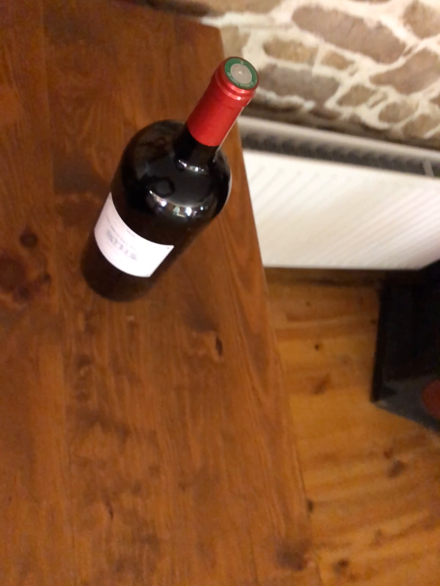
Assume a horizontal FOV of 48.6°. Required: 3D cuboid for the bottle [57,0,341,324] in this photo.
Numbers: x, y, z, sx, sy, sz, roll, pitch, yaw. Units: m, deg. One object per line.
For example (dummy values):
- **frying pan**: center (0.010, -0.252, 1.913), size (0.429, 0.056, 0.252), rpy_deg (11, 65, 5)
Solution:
- **bottle**: center (-0.054, -0.083, 0.452), size (0.100, 0.348, 0.101), rpy_deg (9, 69, -23)
